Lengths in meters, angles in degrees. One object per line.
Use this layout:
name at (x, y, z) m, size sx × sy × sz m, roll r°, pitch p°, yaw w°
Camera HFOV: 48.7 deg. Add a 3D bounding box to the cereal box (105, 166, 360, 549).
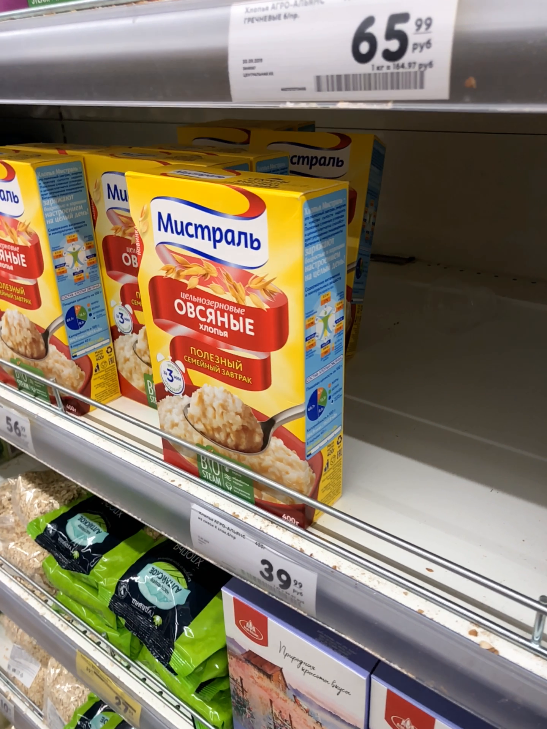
cereal box at (-0.026, -0.010, 0.386) m, size 0.150 × 0.209 × 0.050 m, roll 17°, pitch 31°, yaw 35°
